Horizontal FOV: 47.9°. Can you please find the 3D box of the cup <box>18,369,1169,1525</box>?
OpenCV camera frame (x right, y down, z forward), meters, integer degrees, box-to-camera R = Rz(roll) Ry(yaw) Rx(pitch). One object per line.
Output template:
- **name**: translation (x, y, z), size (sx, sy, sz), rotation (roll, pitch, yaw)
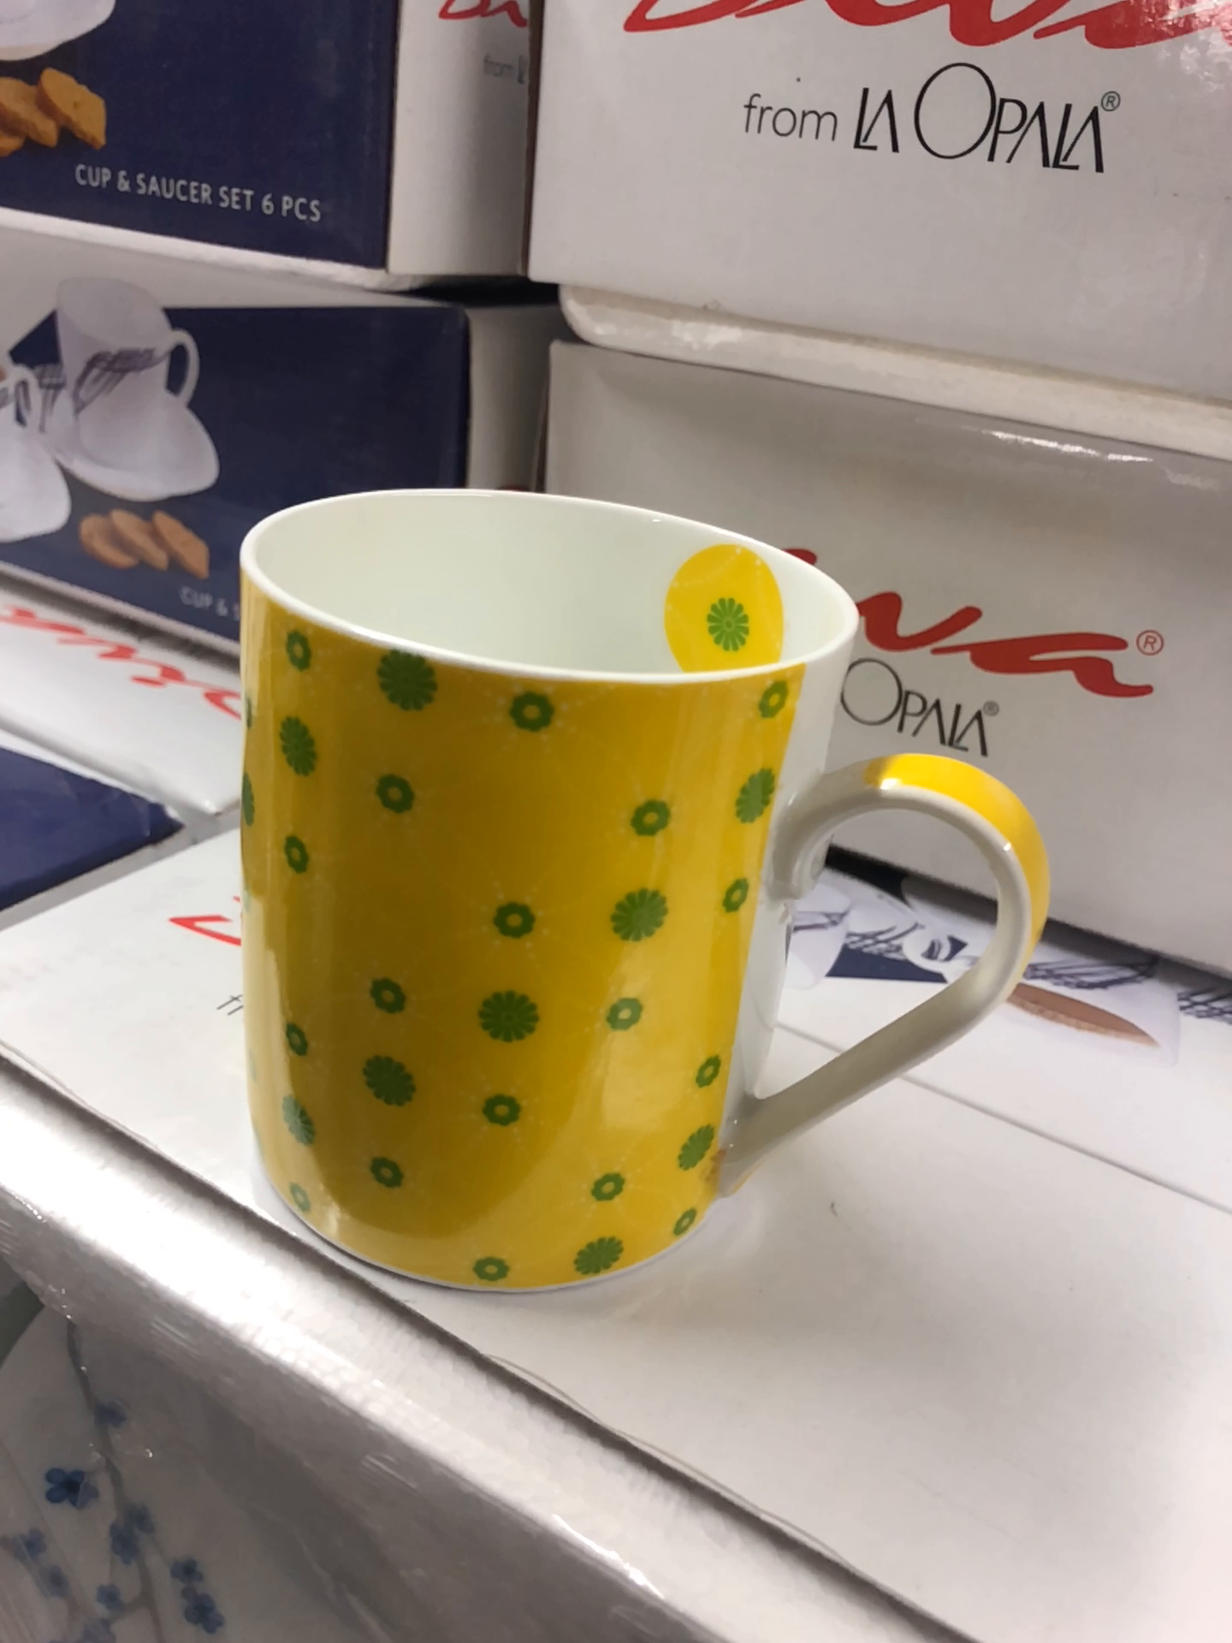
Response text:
- **cup**: translation (-0.002, 0.002, 0.154), size (0.090, 0.080, 0.070), rotation (19, 30, 24)
